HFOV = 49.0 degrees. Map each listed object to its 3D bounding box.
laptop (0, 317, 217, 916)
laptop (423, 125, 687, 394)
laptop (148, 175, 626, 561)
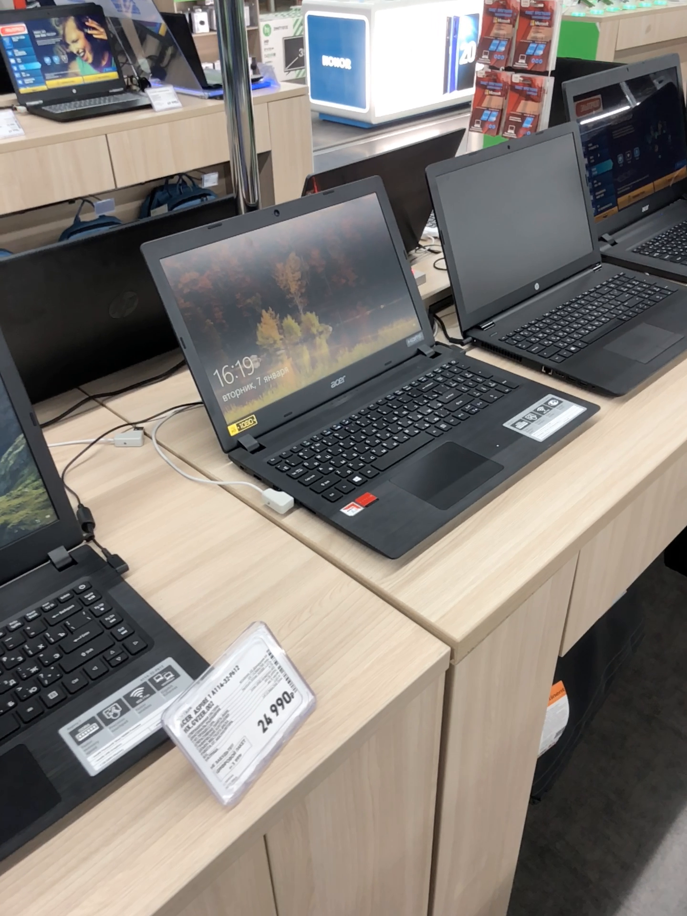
[{"bbox_3d":[-0.314,0.092,0.532,0.307,0.214,0.301,-29,44,-34],"label":"laptop"},{"bbox_3d":[0.359,-0.315,1.088,0.378,0.212,0.339,-29,43,-34],"label":"laptop"},{"bbox_3d":[0.049,-0.145,0.863,0.374,0.208,0.368,-31,44,-34],"label":"laptop"}]
